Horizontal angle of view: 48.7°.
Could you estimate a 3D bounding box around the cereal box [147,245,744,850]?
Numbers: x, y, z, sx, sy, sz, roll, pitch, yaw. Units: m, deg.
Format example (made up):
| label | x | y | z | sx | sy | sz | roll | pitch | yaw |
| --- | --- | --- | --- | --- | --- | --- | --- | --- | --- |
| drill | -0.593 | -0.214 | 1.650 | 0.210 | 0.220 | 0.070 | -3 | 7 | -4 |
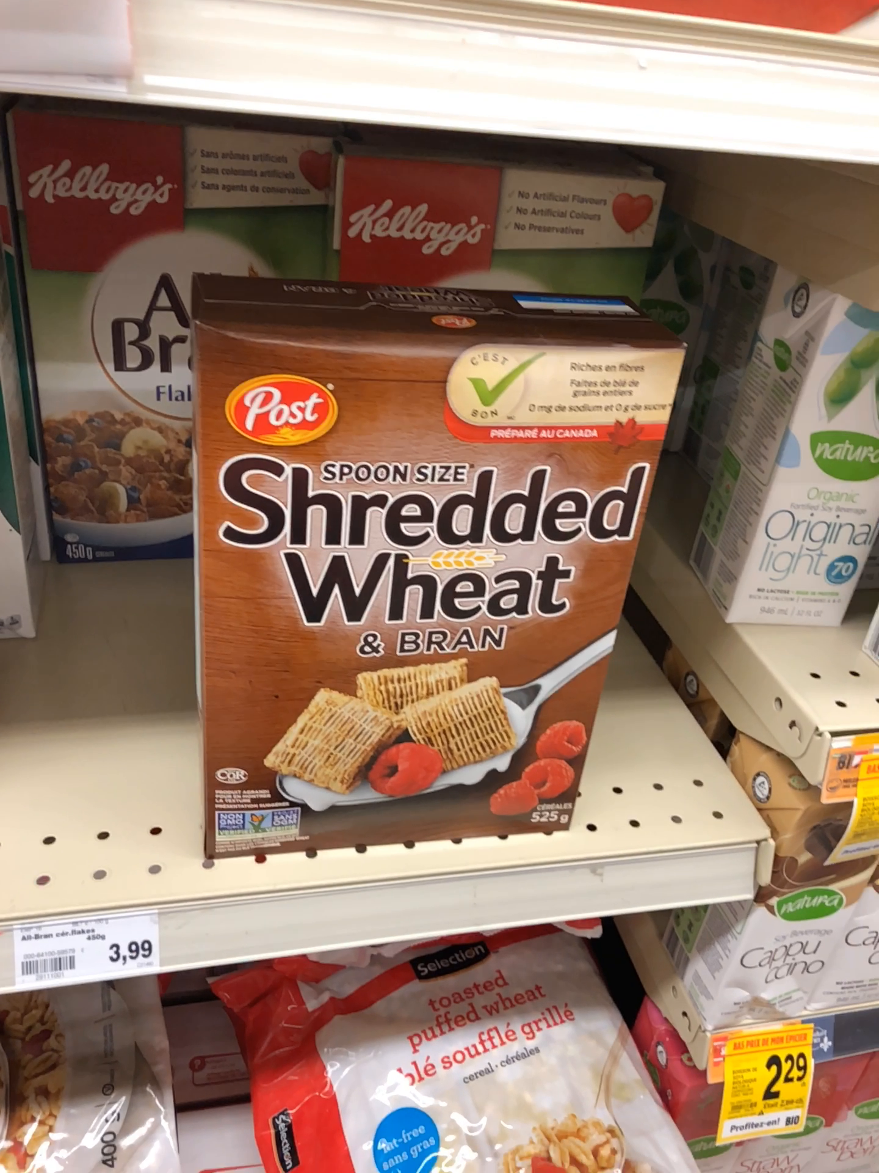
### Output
| label | x | y | z | sx | sy | sz | roll | pitch | yaw |
| --- | --- | --- | --- | --- | --- | --- | --- | --- | --- |
| cereal box | -0.010 | -0.007 | 0.426 | 0.210 | 0.248 | 0.071 | -1 | 32 | -13 |
